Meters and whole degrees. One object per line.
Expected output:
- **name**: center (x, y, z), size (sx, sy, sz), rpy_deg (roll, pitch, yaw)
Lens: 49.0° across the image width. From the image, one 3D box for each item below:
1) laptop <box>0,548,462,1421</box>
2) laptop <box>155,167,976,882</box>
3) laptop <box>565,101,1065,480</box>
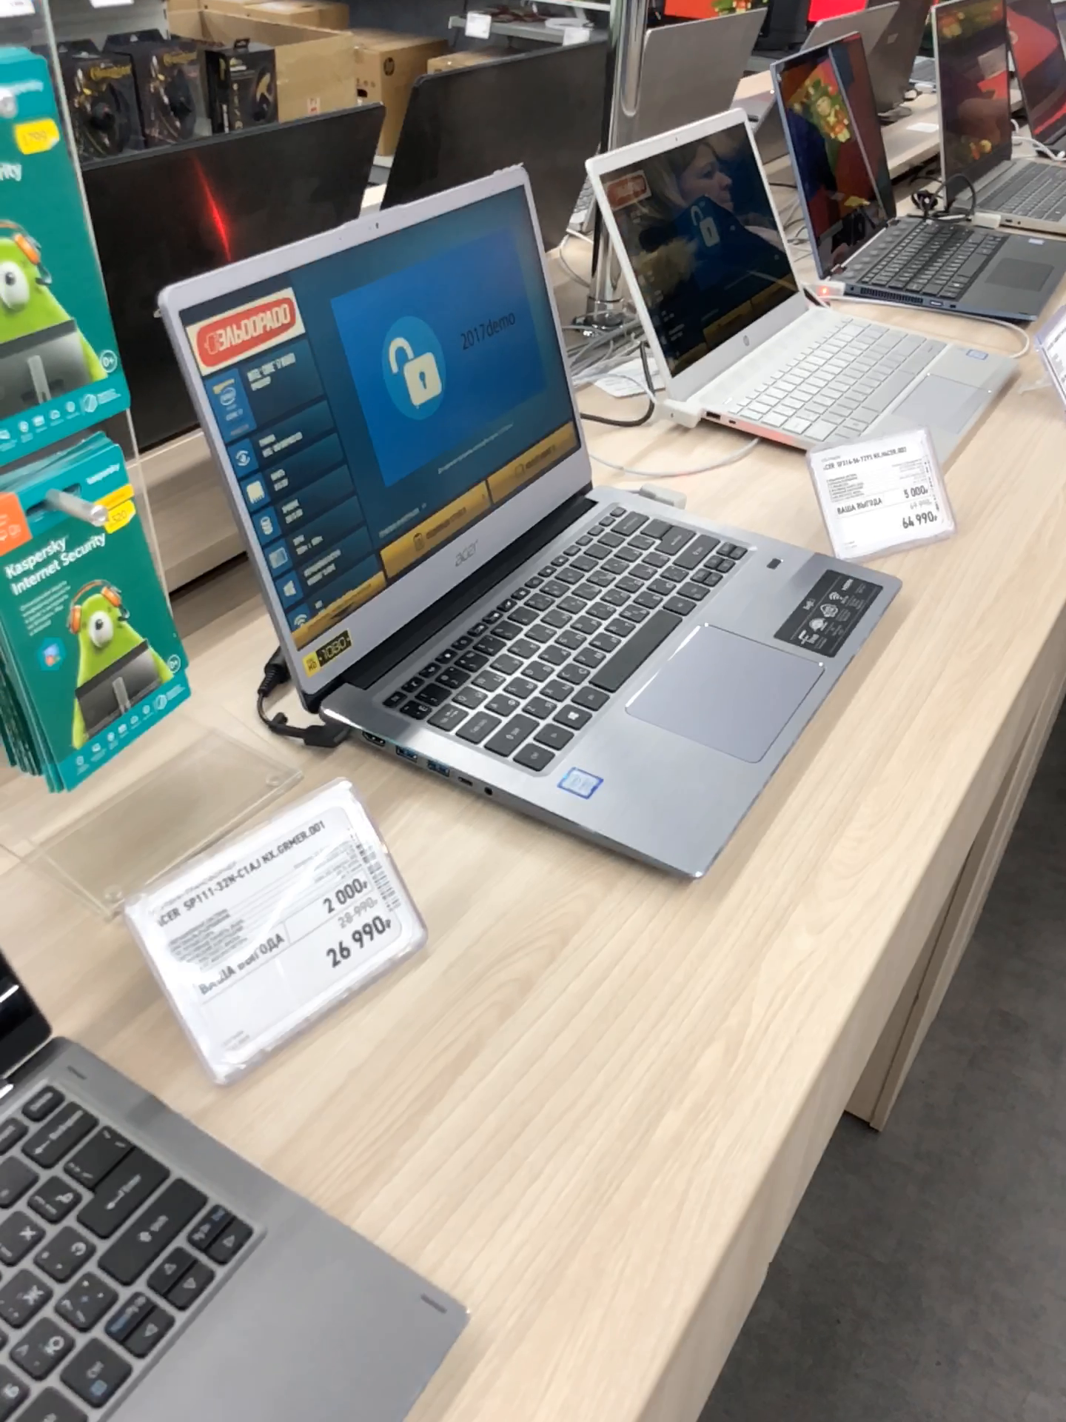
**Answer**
- **laptop**: center (-0.221, 0.143, 0.282), size (0.311, 0.159, 0.280), rpy_deg (25, 42, 23)
- **laptop**: center (0.032, -0.136, 0.648), size (0.302, 0.197, 0.316), rpy_deg (23, 41, 21)
- **laptop**: center (0.247, -0.382, 1.011), size (0.322, 0.164, 0.306), rpy_deg (24, 42, 21)
